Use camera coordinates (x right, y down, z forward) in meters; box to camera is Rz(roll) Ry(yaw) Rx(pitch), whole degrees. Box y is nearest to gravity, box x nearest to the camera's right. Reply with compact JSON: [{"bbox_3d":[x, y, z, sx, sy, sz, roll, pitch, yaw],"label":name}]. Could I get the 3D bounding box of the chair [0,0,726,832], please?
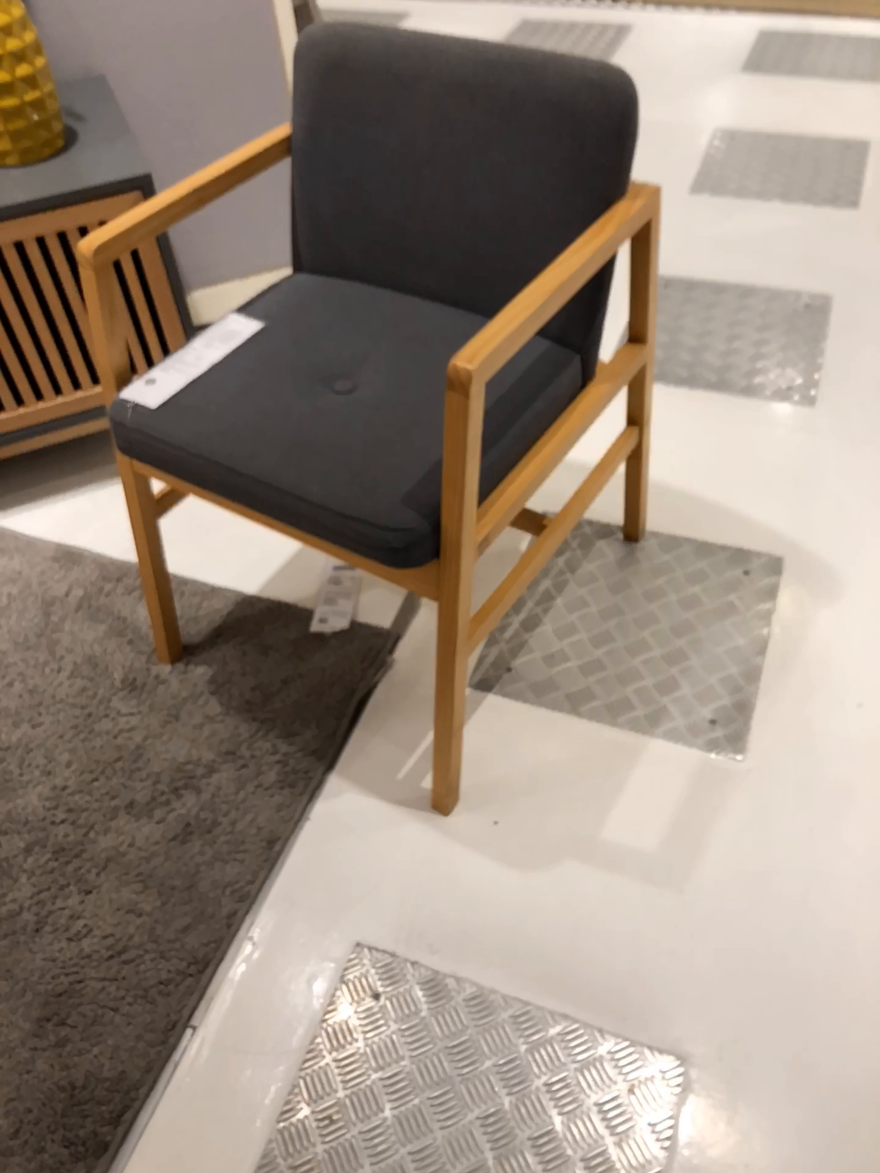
[{"bbox_3d":[-0.069,-0.261,1.308,0.561,0.734,0.704,22,52,24],"label":"chair"}]
